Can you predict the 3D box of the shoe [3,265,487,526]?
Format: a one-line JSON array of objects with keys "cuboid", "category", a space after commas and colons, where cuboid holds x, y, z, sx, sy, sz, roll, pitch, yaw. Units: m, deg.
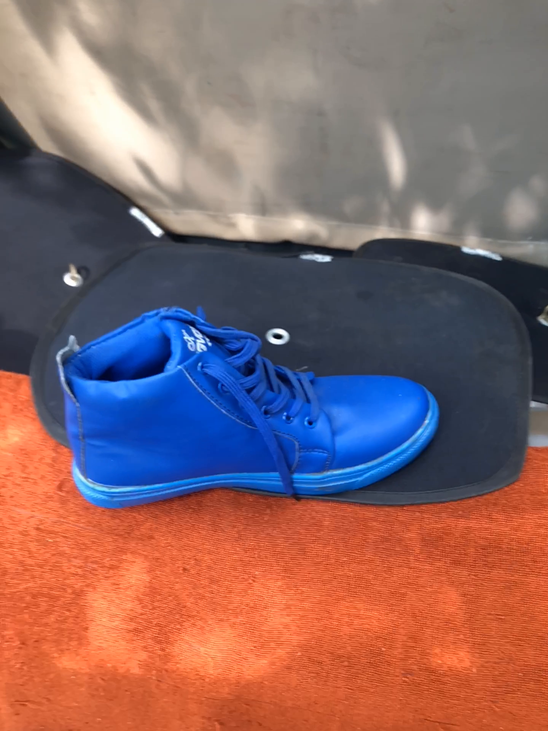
[{"cuboid": [-0.017, 0.024, 0.449, 0.290, 0.139, 0.100, -5, 46, -2], "category": "shoe"}]
